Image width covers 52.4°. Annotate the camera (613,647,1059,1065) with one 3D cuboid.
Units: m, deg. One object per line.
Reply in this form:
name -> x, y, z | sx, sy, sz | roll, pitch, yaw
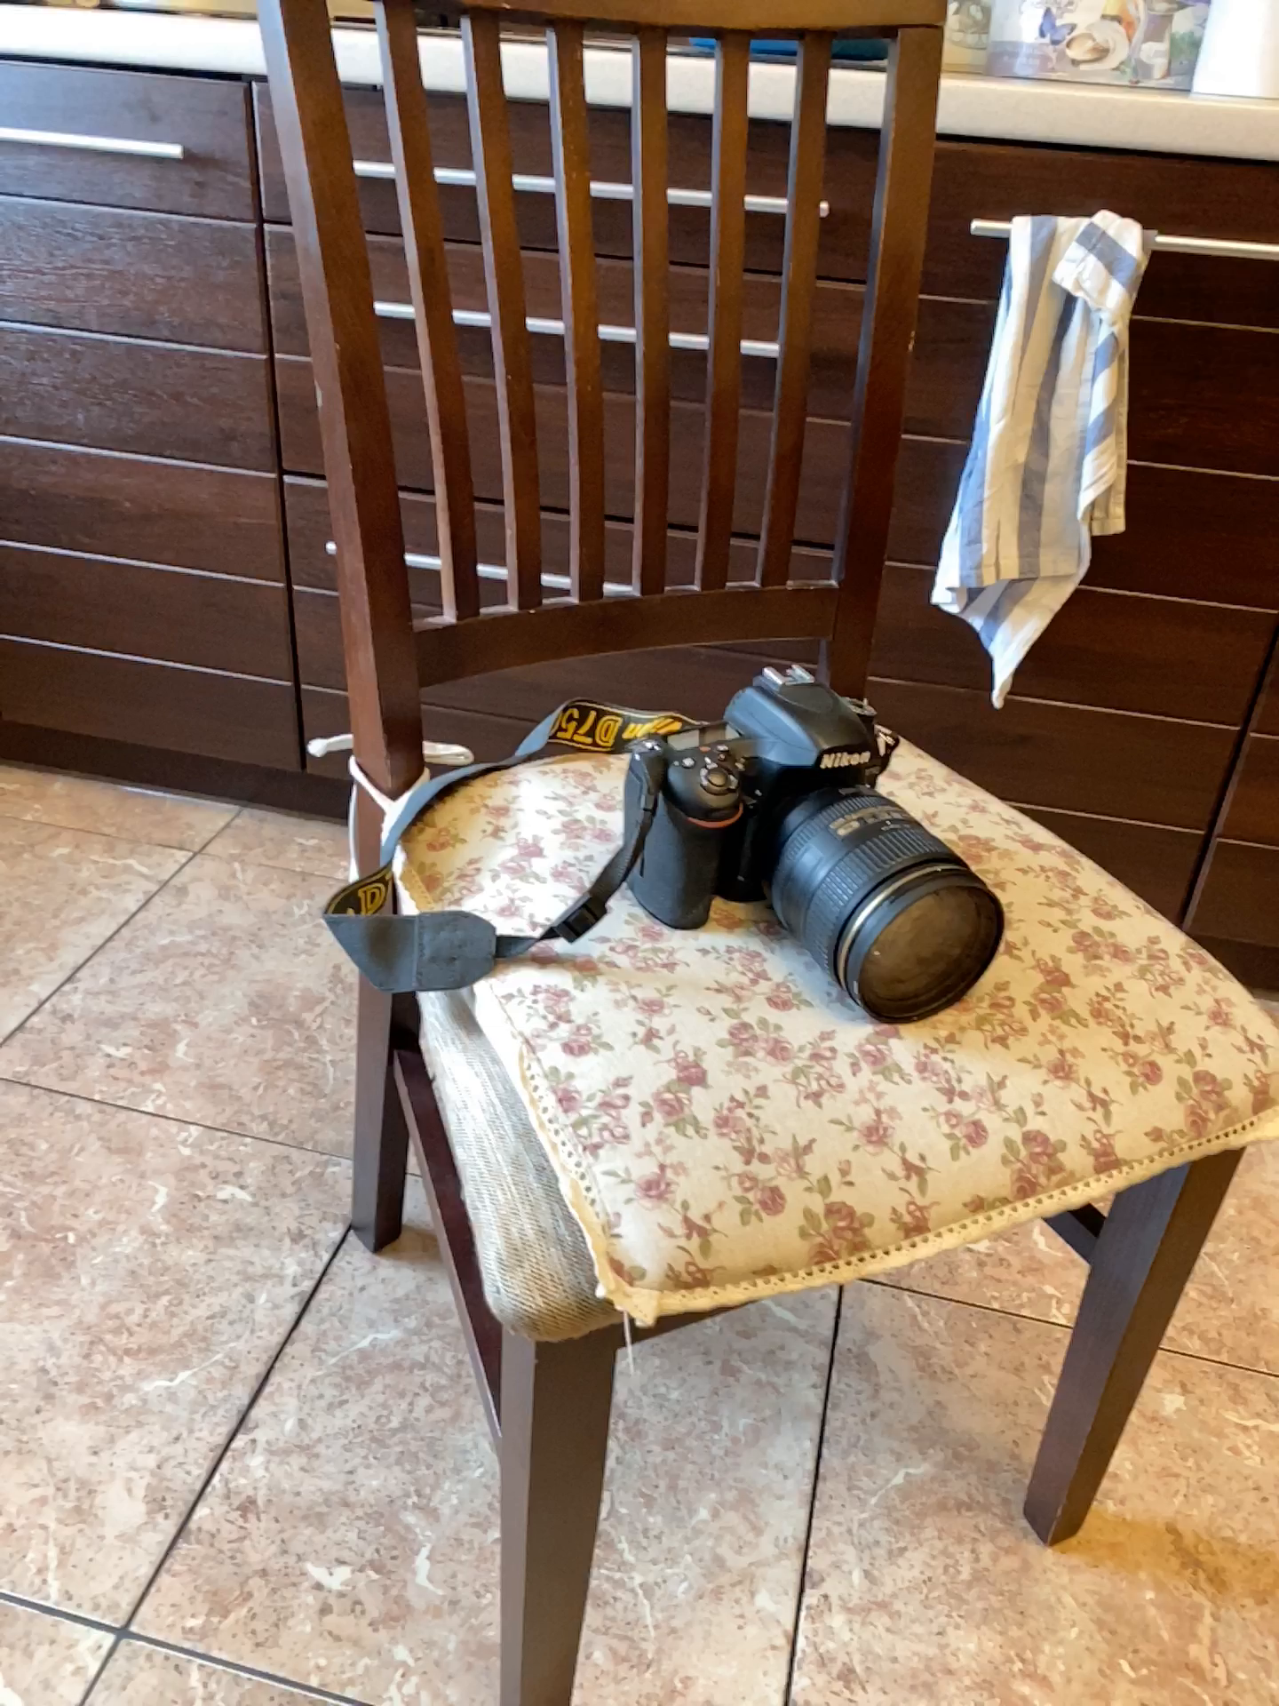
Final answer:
camera -> 0.086, -0.008, 0.641 | 0.135, 0.119, 0.165 | -11, 34, -24
